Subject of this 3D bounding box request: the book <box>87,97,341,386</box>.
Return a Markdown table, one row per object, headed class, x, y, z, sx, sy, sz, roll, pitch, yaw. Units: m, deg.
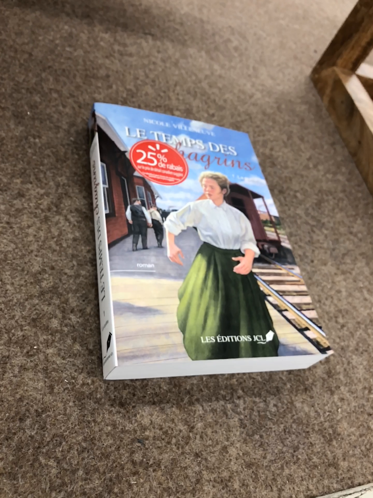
| class | x | y | z | sx | sy | sz | roll | pitch | yaw |
| --- | --- | --- | --- | --- | --- | --- | --- | --- | --- |
| book | 0.008 | -0.017 | 0.320 | 0.155 | 0.030 | 0.225 | 4 | 54 | -23 |
